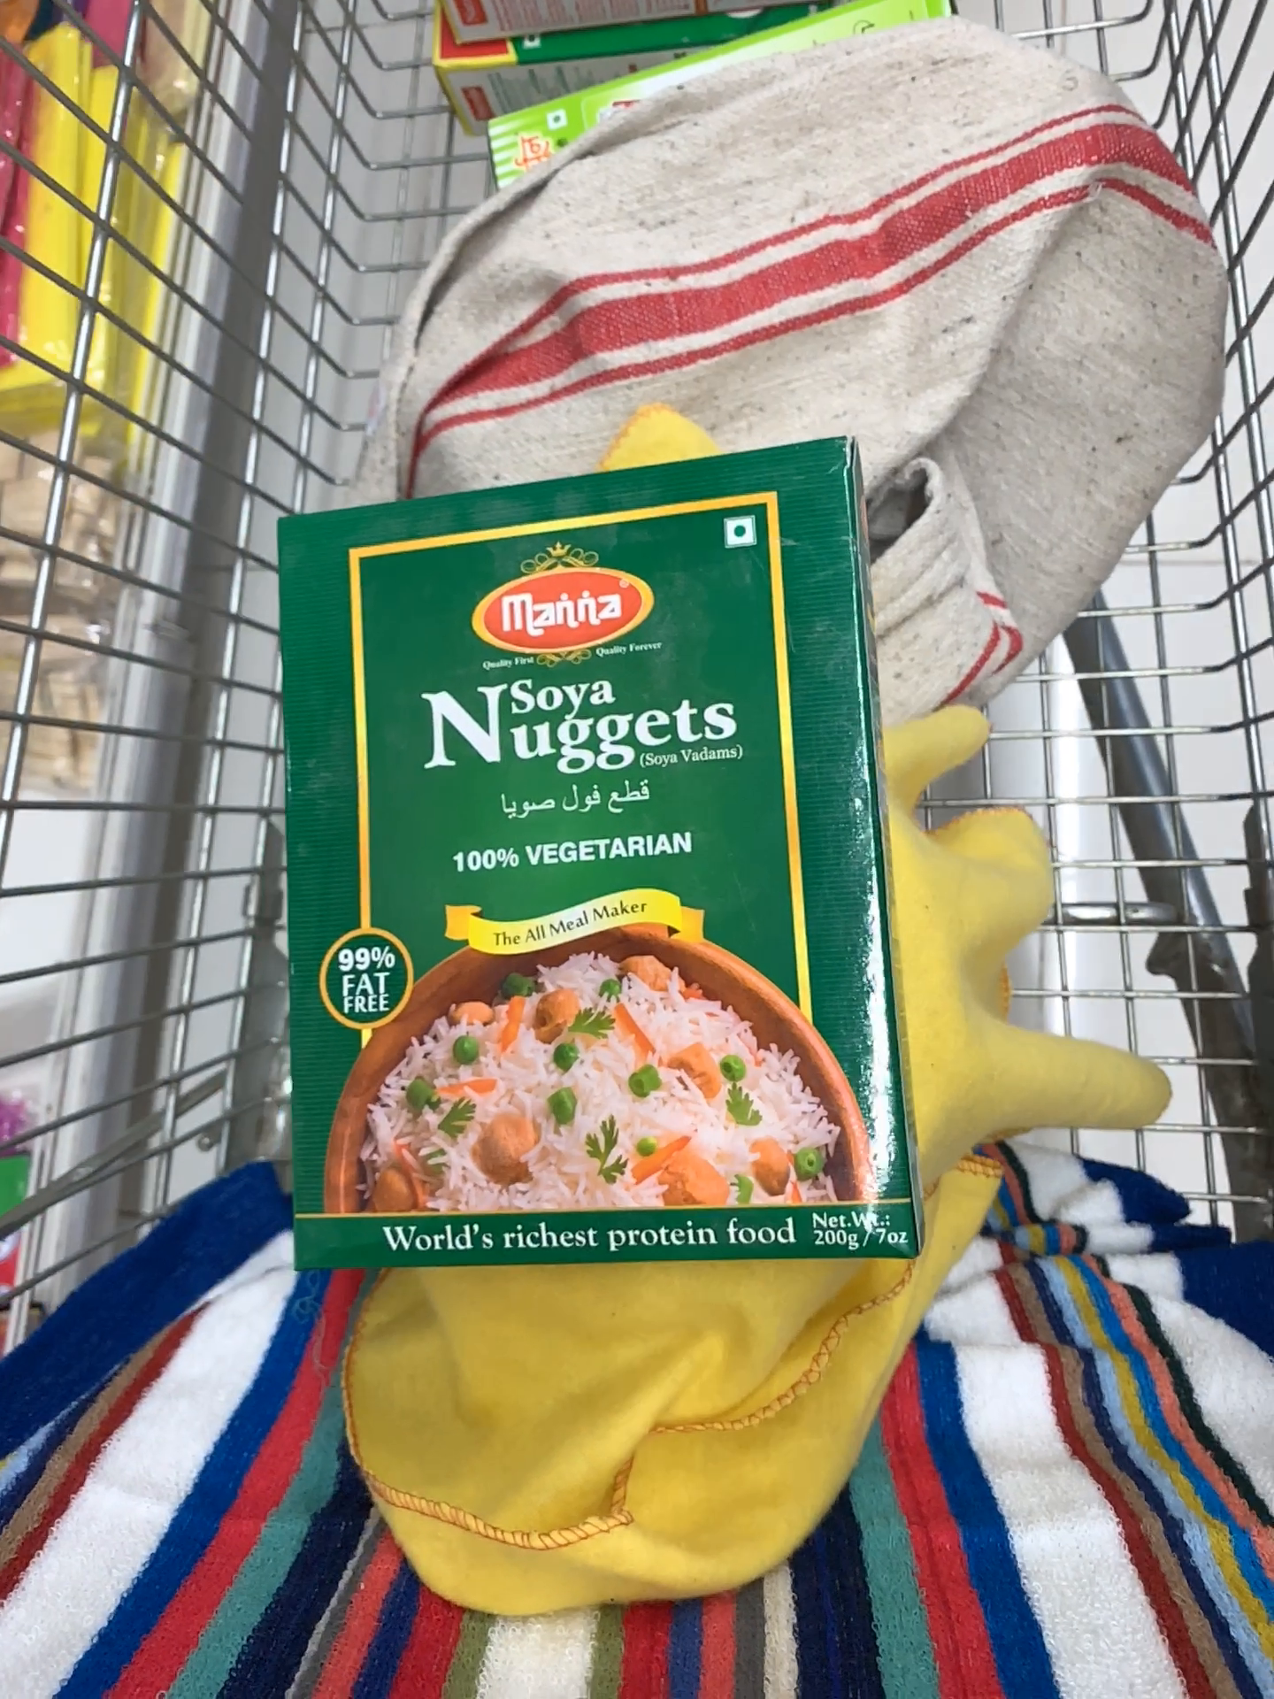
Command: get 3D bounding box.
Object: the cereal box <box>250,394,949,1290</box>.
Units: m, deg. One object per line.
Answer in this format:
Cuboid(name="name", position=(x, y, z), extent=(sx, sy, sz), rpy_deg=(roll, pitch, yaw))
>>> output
Cuboid(name="cereal box", position=(-0.010, 0.003, 0.337), extent=(0.160, 0.060, 0.200), rpy_deg=(-4, 83, 12))
